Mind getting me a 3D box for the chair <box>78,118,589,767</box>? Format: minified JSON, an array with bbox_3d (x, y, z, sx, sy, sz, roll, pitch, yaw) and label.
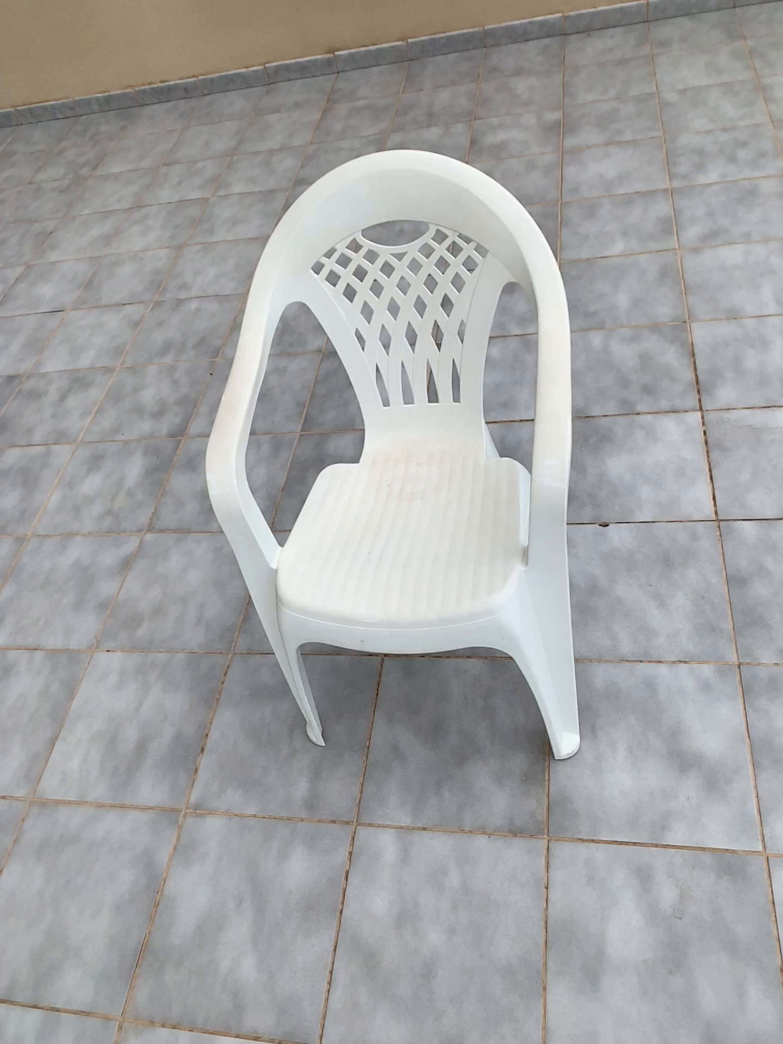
[{"bbox_3d":[0.040,-0.074,1.318,0.543,0.823,0.612,-1,50,14],"label":"chair"}]
